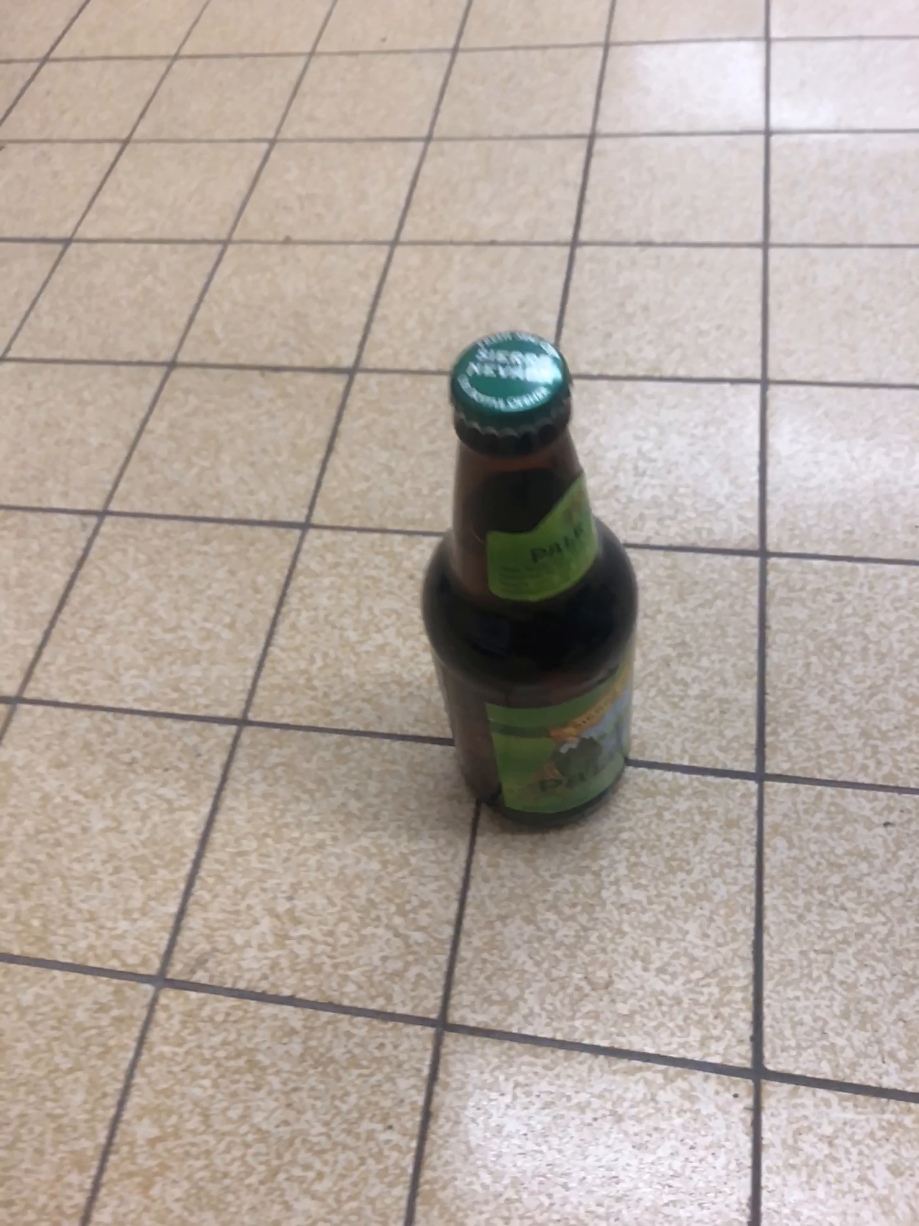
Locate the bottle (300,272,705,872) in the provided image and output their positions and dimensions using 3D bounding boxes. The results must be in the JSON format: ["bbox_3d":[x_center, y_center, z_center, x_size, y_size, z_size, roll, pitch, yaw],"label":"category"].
[{"bbox_3d":[0.022,0.003,0.303,0.070,0.189,0.060,21,62,21],"label":"bottle"}]
